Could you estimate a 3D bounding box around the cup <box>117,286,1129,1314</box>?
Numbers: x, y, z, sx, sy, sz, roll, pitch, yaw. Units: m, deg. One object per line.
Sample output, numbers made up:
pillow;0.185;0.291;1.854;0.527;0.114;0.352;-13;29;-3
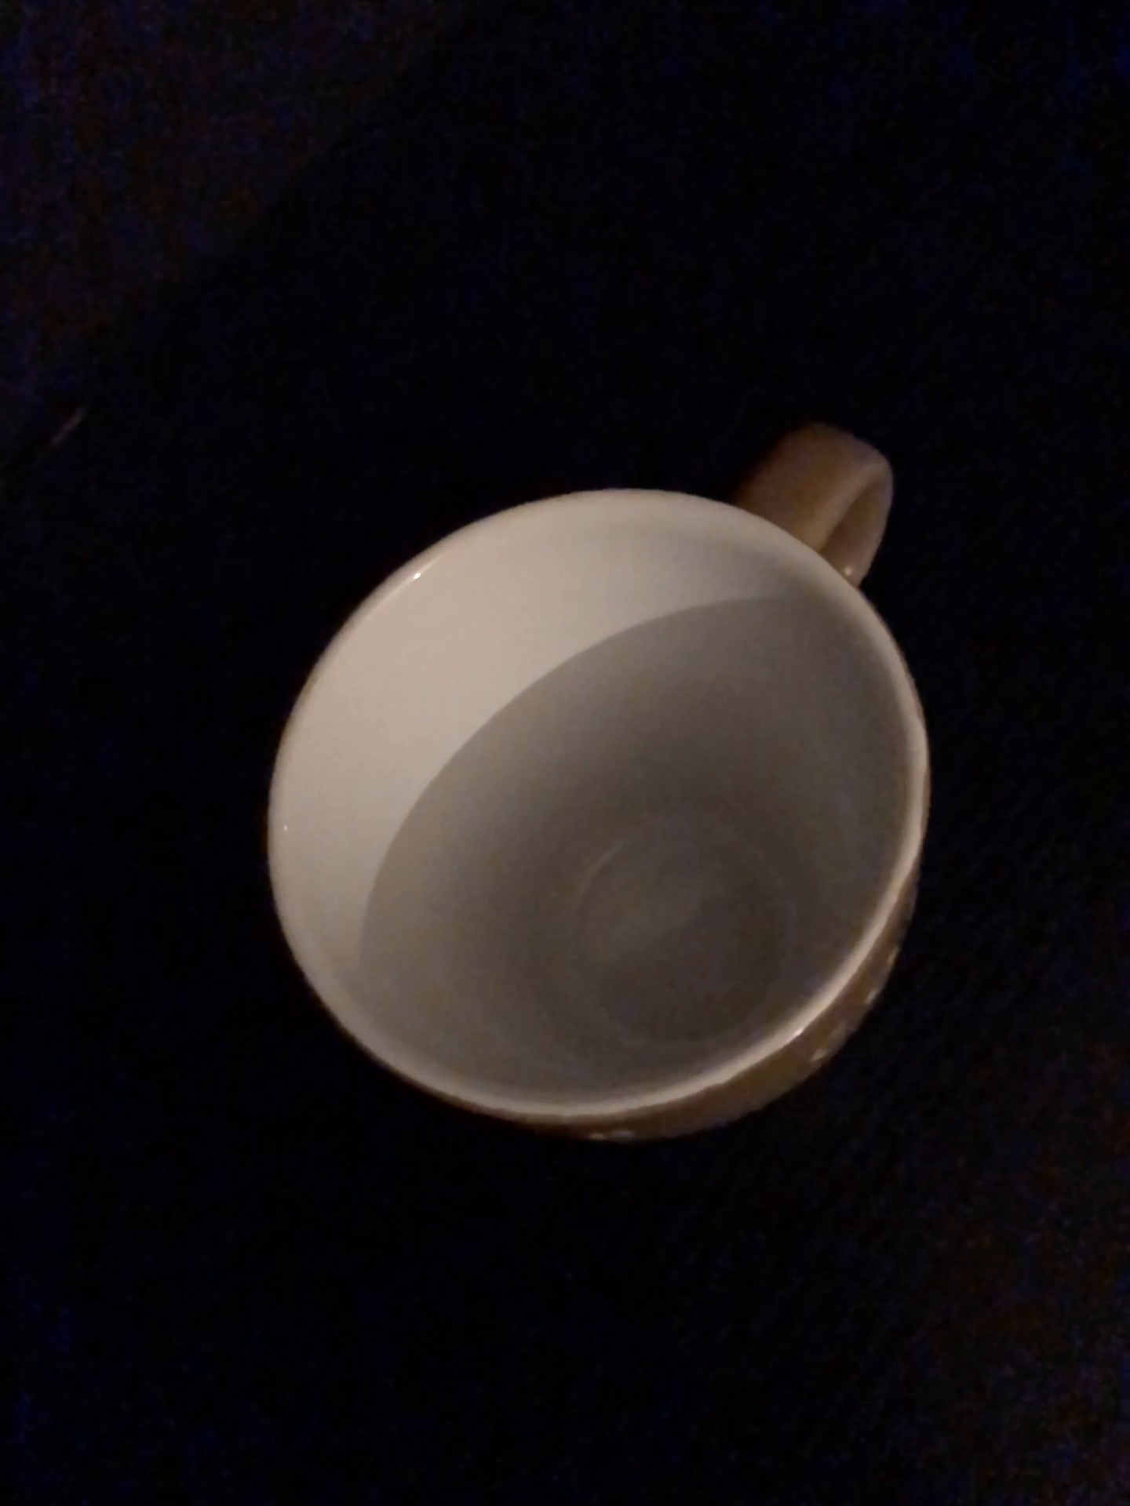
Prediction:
cup;0.014;0.010;0.192;0.080;0.082;0.107;29;77;21
